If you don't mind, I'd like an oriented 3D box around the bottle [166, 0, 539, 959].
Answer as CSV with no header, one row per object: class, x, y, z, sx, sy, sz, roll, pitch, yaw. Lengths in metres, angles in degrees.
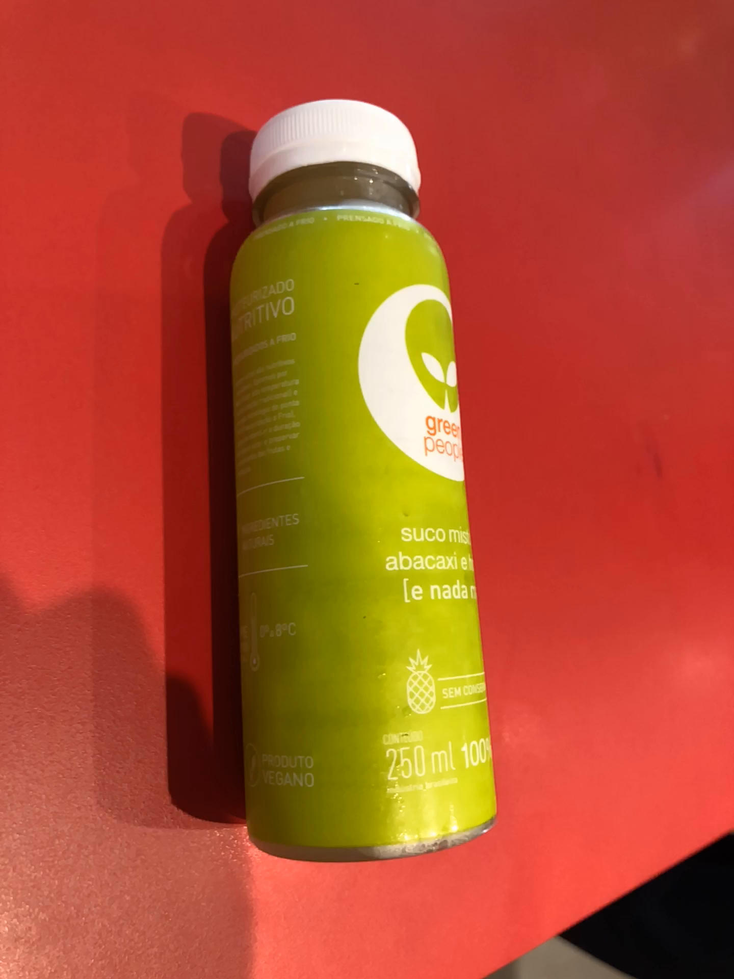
bottle,-0.002,-0.008,0.176,0.060,0.050,0.170,7,80,-56
